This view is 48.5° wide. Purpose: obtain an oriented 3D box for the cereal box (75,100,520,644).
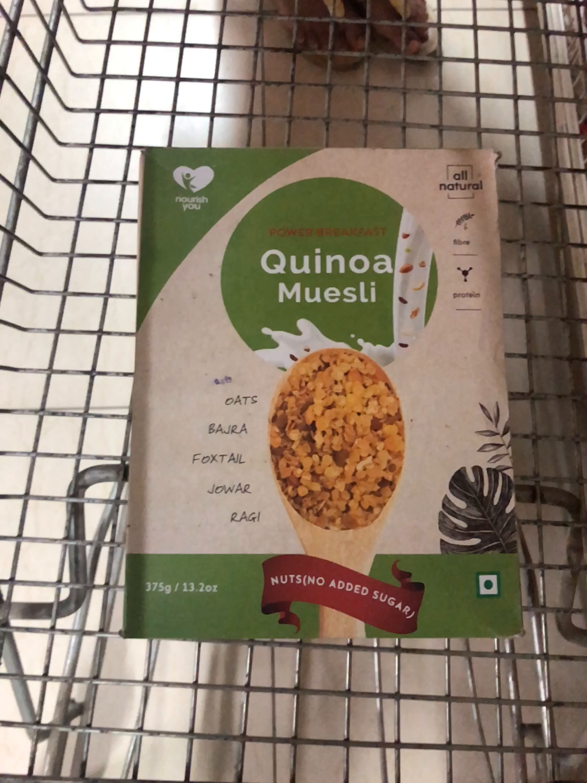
[{"bbox_3d":[0.000,-0.010,0.281,0.160,0.060,0.210,0,81,-3],"label":"cereal box"}]
